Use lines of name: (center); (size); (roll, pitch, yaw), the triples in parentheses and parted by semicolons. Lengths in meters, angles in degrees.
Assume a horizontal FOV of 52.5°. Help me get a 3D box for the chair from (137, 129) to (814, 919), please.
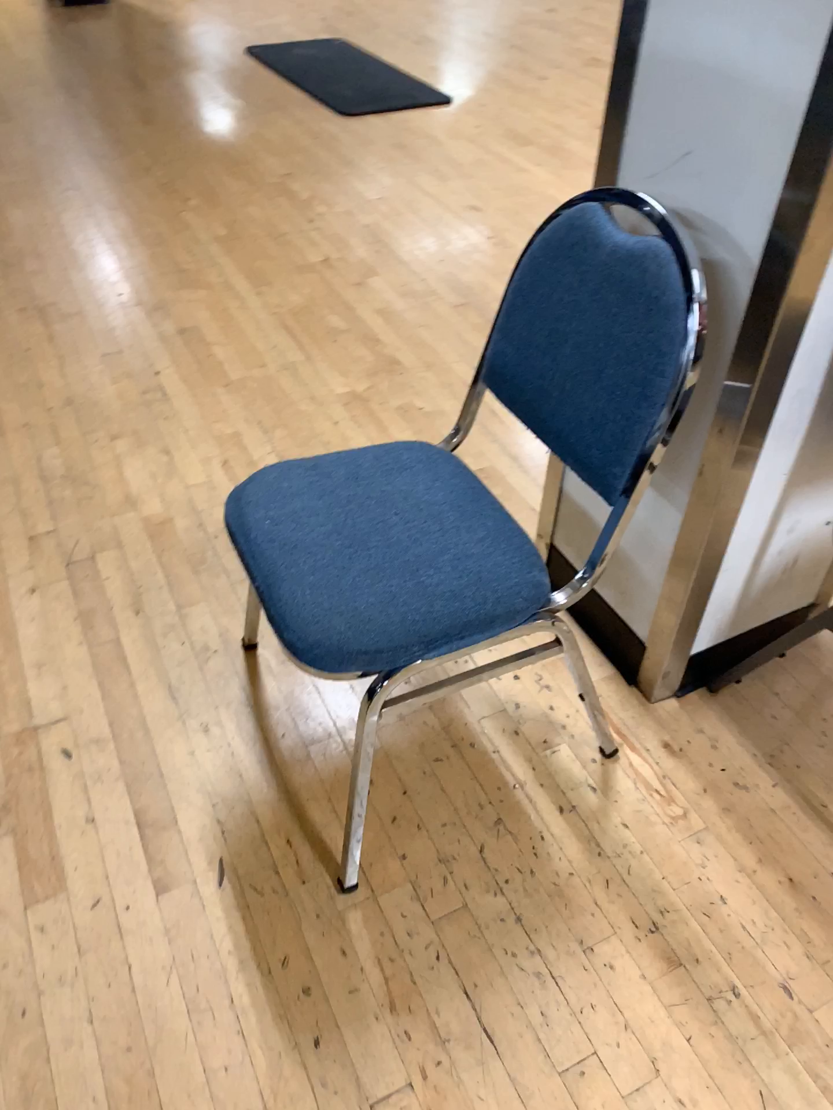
chair: (0.020, -0.033, 1.229); (0.553, 0.888, 0.550); (-17, 45, -19)
